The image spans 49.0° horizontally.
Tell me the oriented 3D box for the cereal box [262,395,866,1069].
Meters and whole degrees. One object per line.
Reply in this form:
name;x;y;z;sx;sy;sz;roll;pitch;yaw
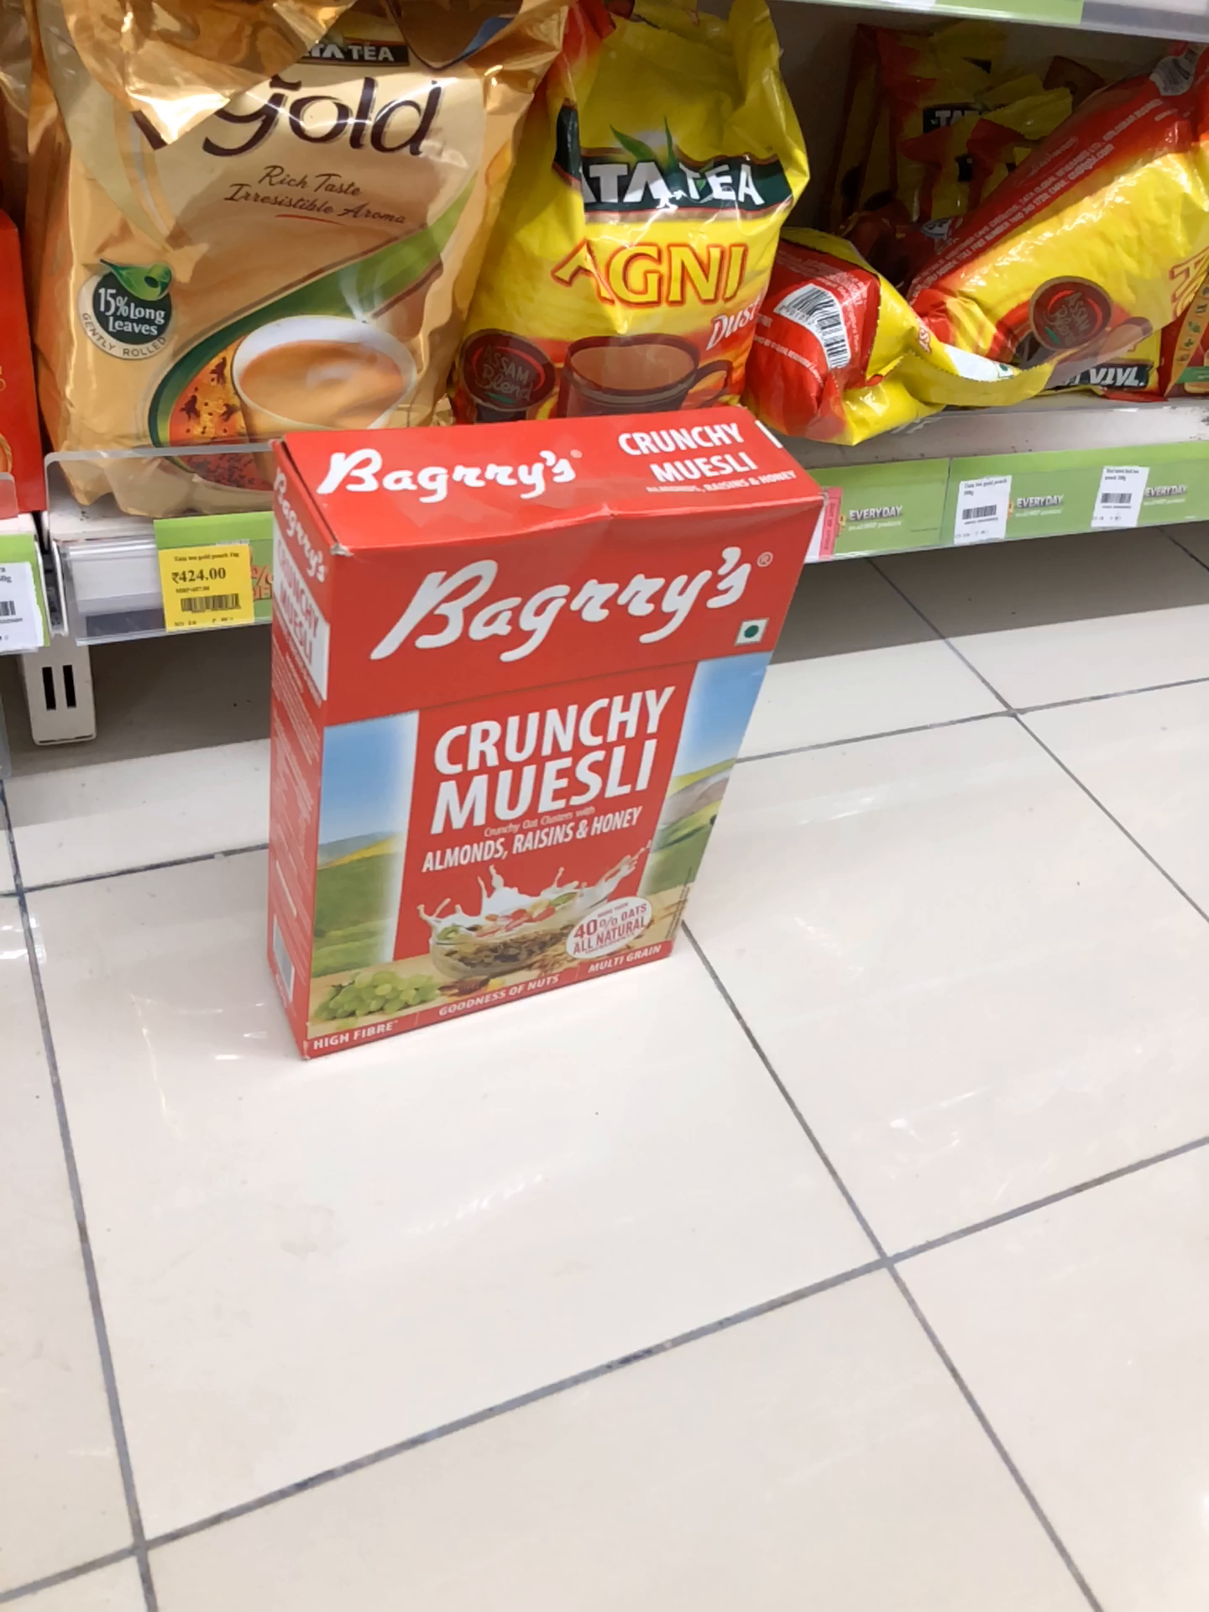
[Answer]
cereal box;-0.032;-0.024;0.551;0.201;0.268;0.070;-12;49;-26
